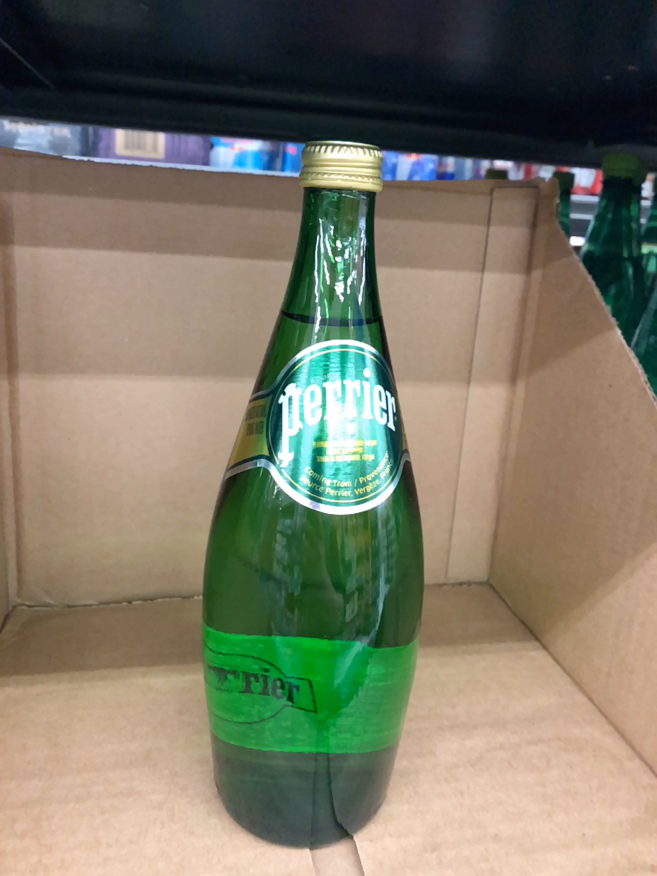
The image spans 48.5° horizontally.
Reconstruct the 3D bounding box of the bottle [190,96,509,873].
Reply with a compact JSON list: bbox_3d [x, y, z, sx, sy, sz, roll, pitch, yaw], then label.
[{"bbox_3d":[-0.006,0.023,0.285,0.090,0.269,0.080,0,16,-12],"label":"bottle"}]

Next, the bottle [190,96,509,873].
[{"bbox_3d":[-0.006,0.023,0.285,0.090,0.269,0.080,0,16,-12],"label":"bottle"}]
